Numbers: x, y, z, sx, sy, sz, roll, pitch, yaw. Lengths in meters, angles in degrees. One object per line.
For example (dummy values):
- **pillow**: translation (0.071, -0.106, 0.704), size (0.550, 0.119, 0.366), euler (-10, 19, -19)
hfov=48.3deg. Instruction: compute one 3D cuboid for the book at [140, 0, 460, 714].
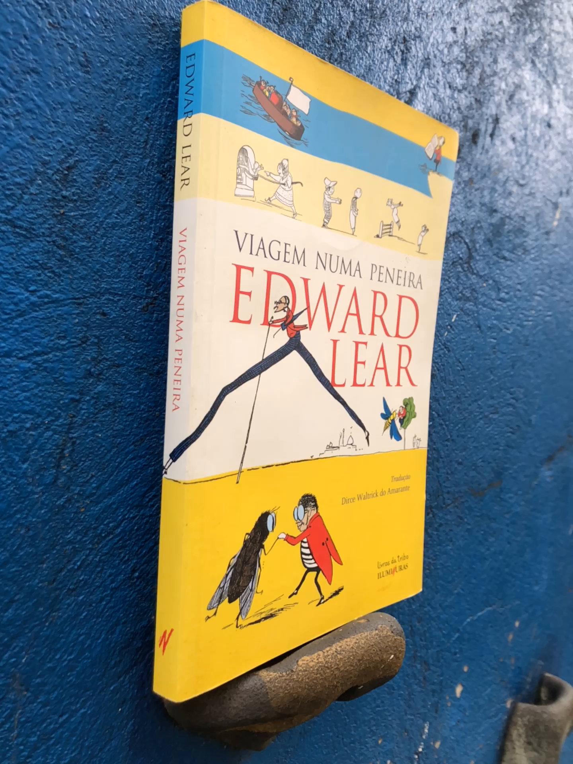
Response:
- **book**: translation (0.018, -0.009, 0.258), size (0.021, 0.220, 0.158), euler (5, 2, 40)
